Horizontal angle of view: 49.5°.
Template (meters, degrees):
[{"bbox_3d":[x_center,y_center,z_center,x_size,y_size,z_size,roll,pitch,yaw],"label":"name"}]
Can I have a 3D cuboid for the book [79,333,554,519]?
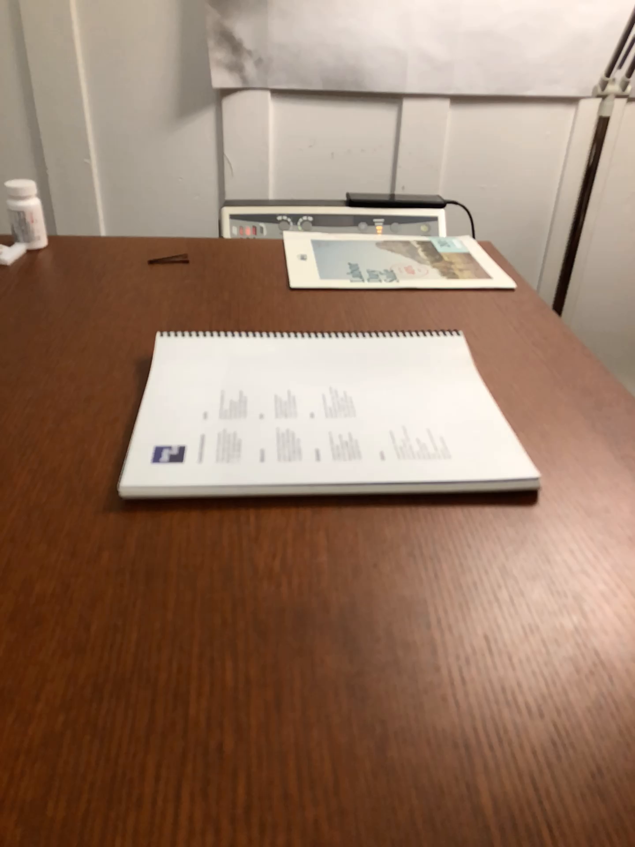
[{"bbox_3d":[-0.006,-0.012,0.536,0.300,0.020,0.231,-1,32,-6],"label":"book"}]
